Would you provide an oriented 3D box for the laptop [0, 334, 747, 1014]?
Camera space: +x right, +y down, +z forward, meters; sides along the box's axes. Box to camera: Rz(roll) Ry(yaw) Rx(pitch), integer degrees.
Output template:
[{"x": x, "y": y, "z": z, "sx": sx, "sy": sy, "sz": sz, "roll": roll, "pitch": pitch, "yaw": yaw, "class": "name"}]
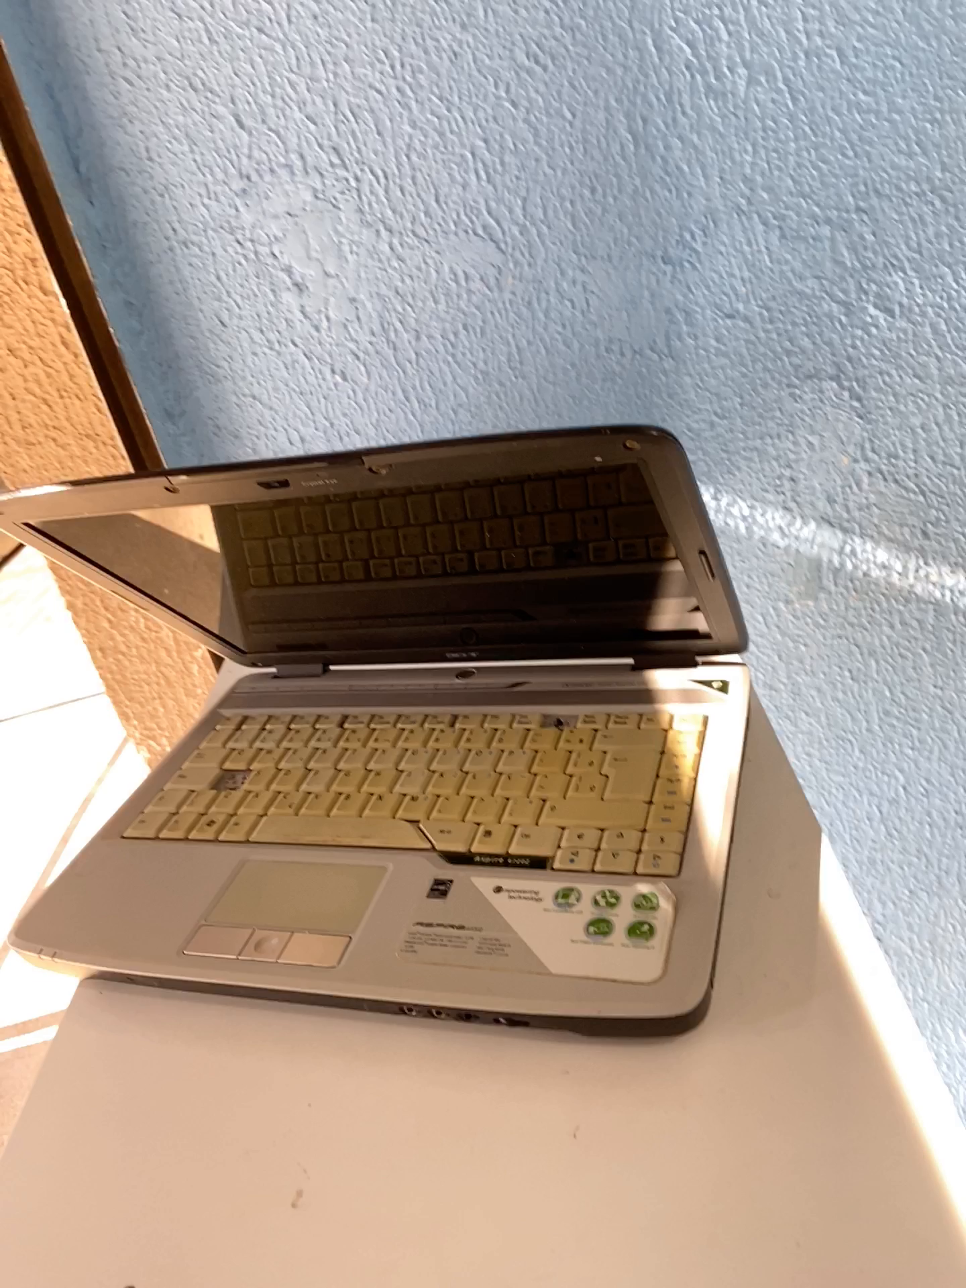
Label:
[{"x": -0.060, "y": 0.000, "z": 0.470, "sx": 0.328, "sy": 0.180, "sz": 0.226, "roll": -2, "pitch": 31, "yaw": 22, "class": "laptop"}]
